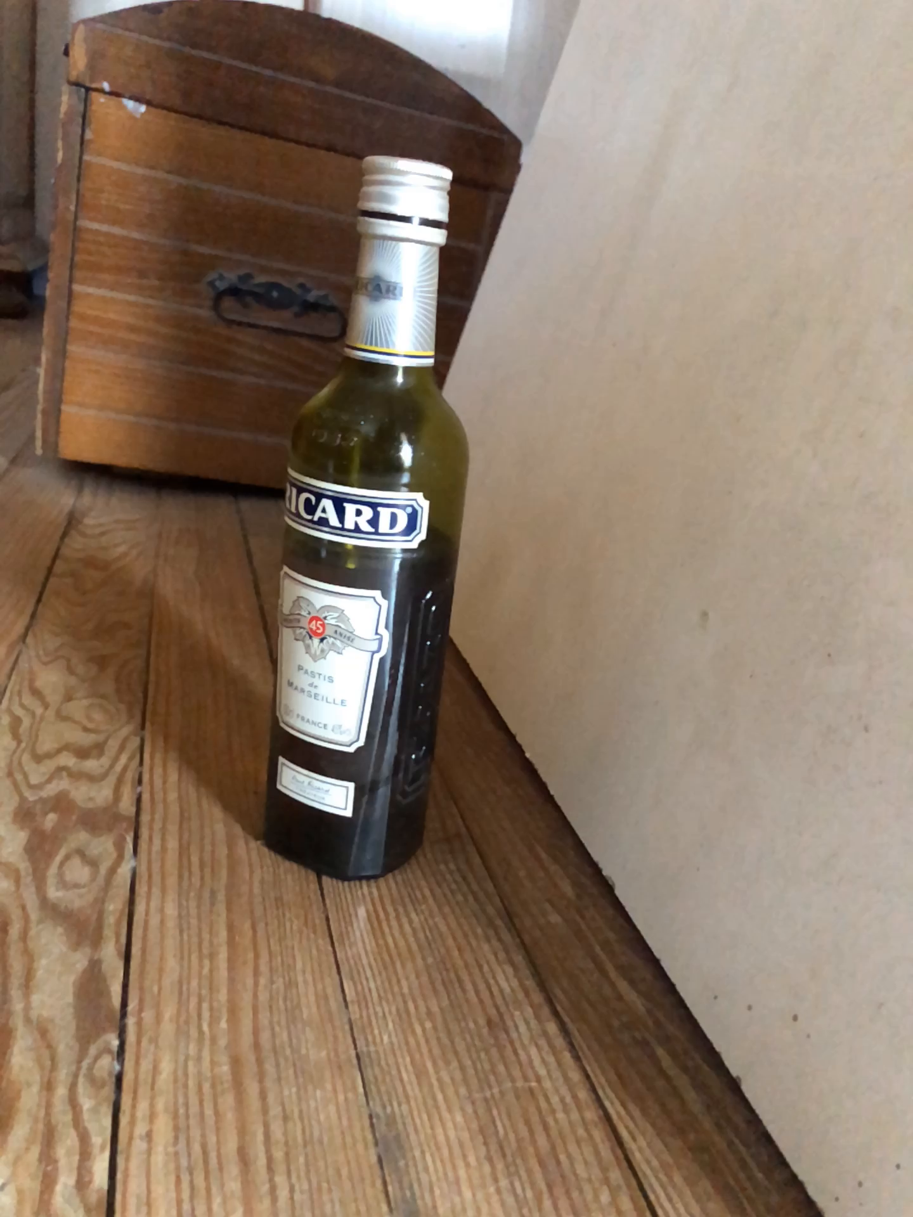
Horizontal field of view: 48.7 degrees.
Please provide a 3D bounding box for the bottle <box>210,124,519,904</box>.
[{"bbox_3d":[-0.038,-0.029,0.370,0.070,0.259,0.060,16,20,24],"label":"bottle"}]
